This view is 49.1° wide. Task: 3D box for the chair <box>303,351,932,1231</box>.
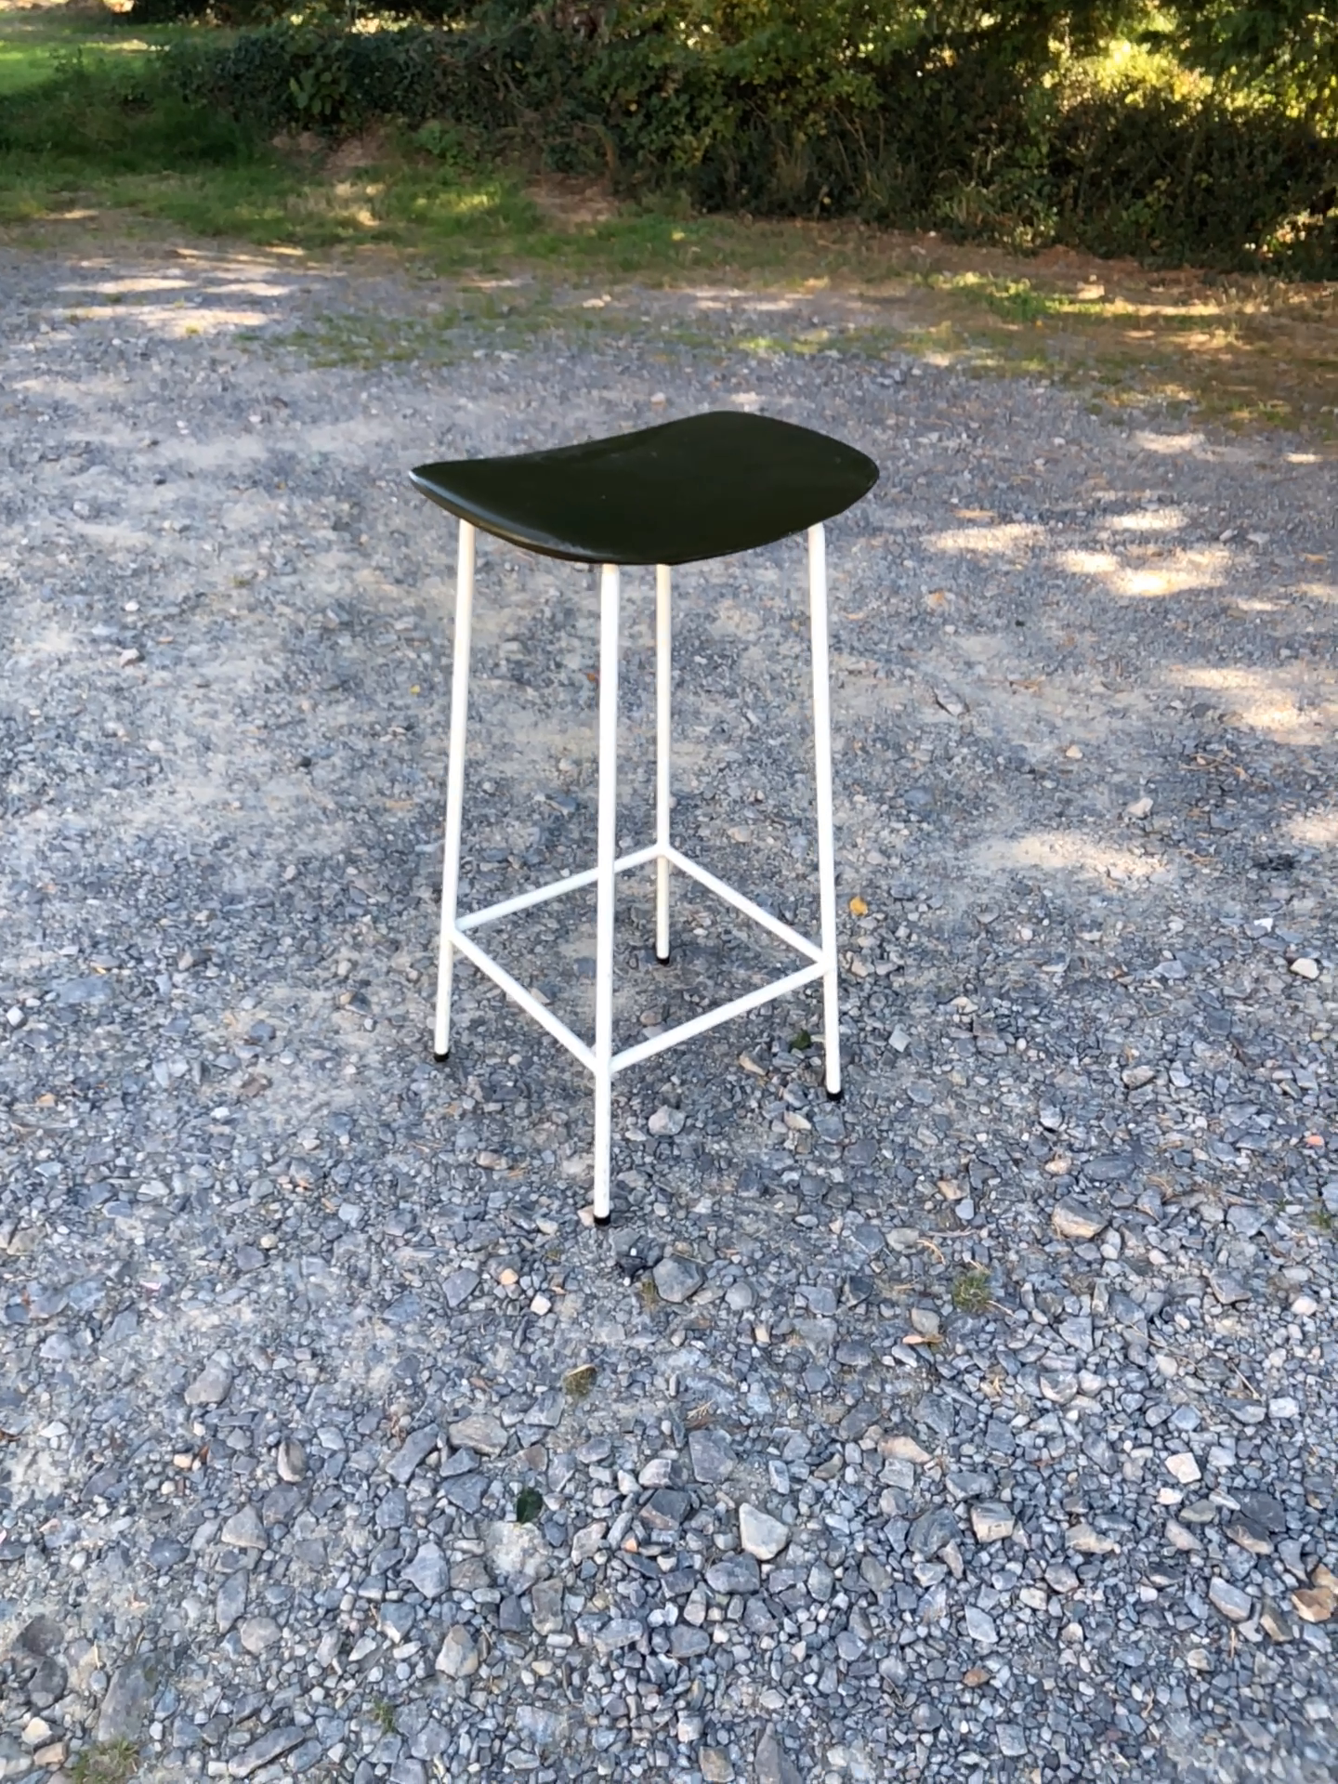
[{"bbox_3d":[-0.039,-0.109,1.366,0.371,0.646,0.371,-23,37,-29],"label":"chair"}]
